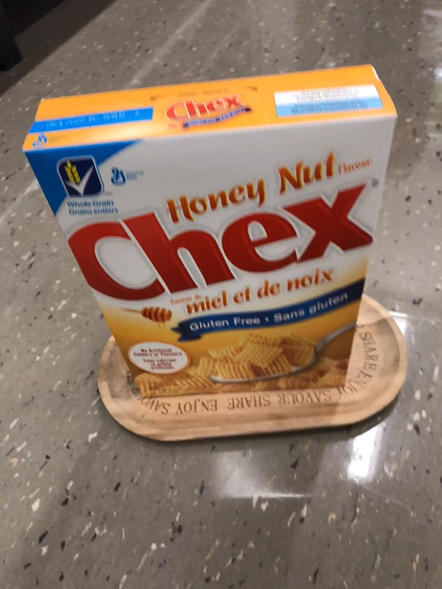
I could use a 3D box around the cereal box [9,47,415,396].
[{"bbox_3d":[0.006,-0.023,0.380,0.210,0.280,0.060,-4,50,4],"label":"cereal box"}]
